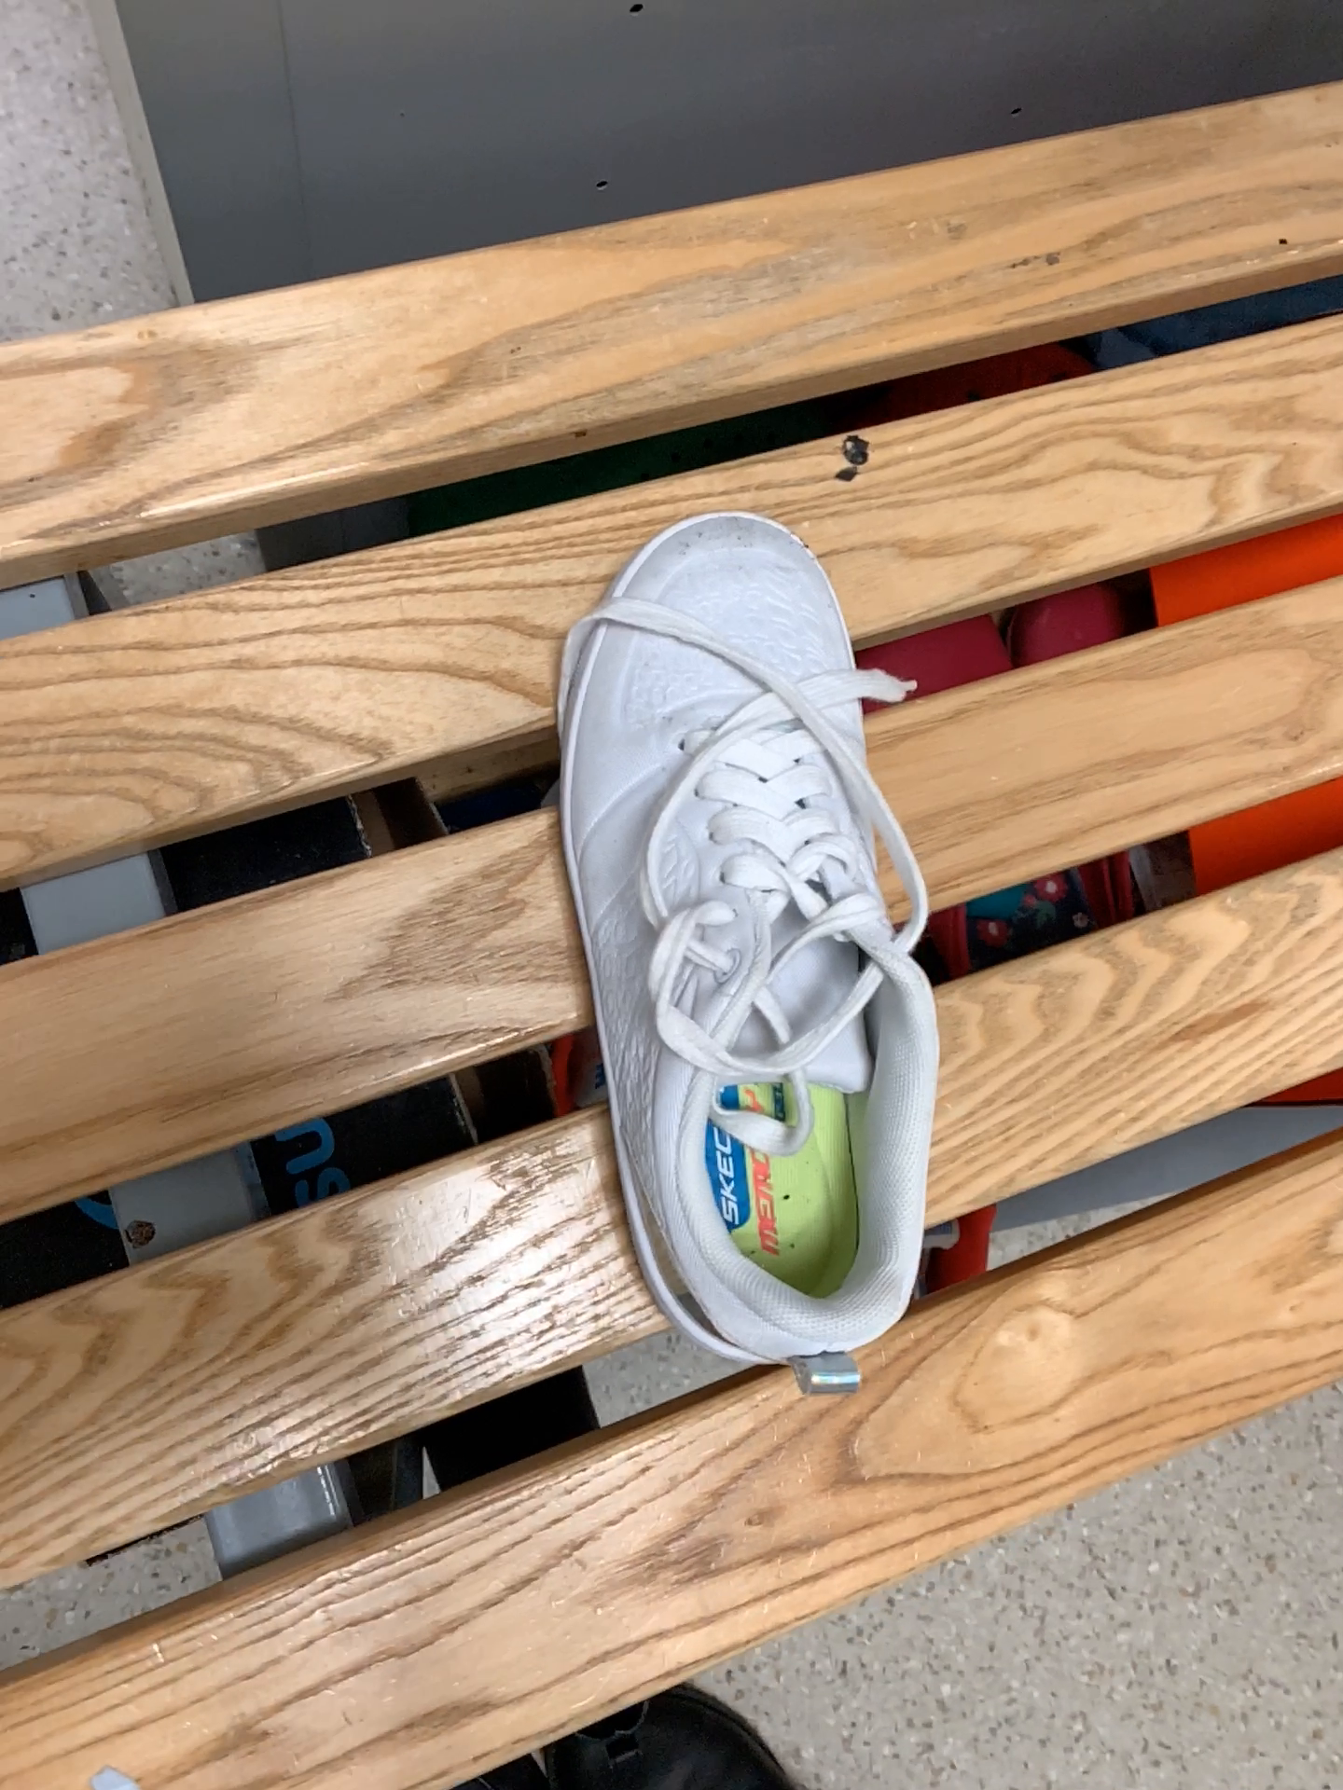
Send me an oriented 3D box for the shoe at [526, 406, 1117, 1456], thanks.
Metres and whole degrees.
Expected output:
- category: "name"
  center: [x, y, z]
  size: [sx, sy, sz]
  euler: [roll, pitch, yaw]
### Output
- category: "shoe"
  center: [0.031, 0.004, 0.376]
  size: [0.099, 0.076, 0.250]
  euler: [-8, 81, -12]
